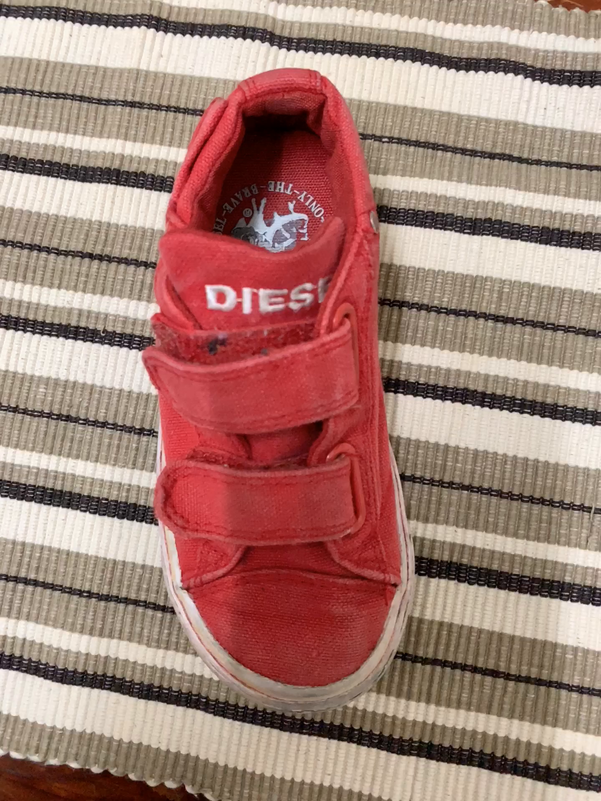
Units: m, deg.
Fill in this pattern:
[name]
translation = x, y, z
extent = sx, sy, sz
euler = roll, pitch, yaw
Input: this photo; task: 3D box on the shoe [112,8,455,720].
[shoe]
translation = -0.004, -0.009, 0.186
extent = 0.080, 0.070, 0.170
euler = -1, 86, 5
